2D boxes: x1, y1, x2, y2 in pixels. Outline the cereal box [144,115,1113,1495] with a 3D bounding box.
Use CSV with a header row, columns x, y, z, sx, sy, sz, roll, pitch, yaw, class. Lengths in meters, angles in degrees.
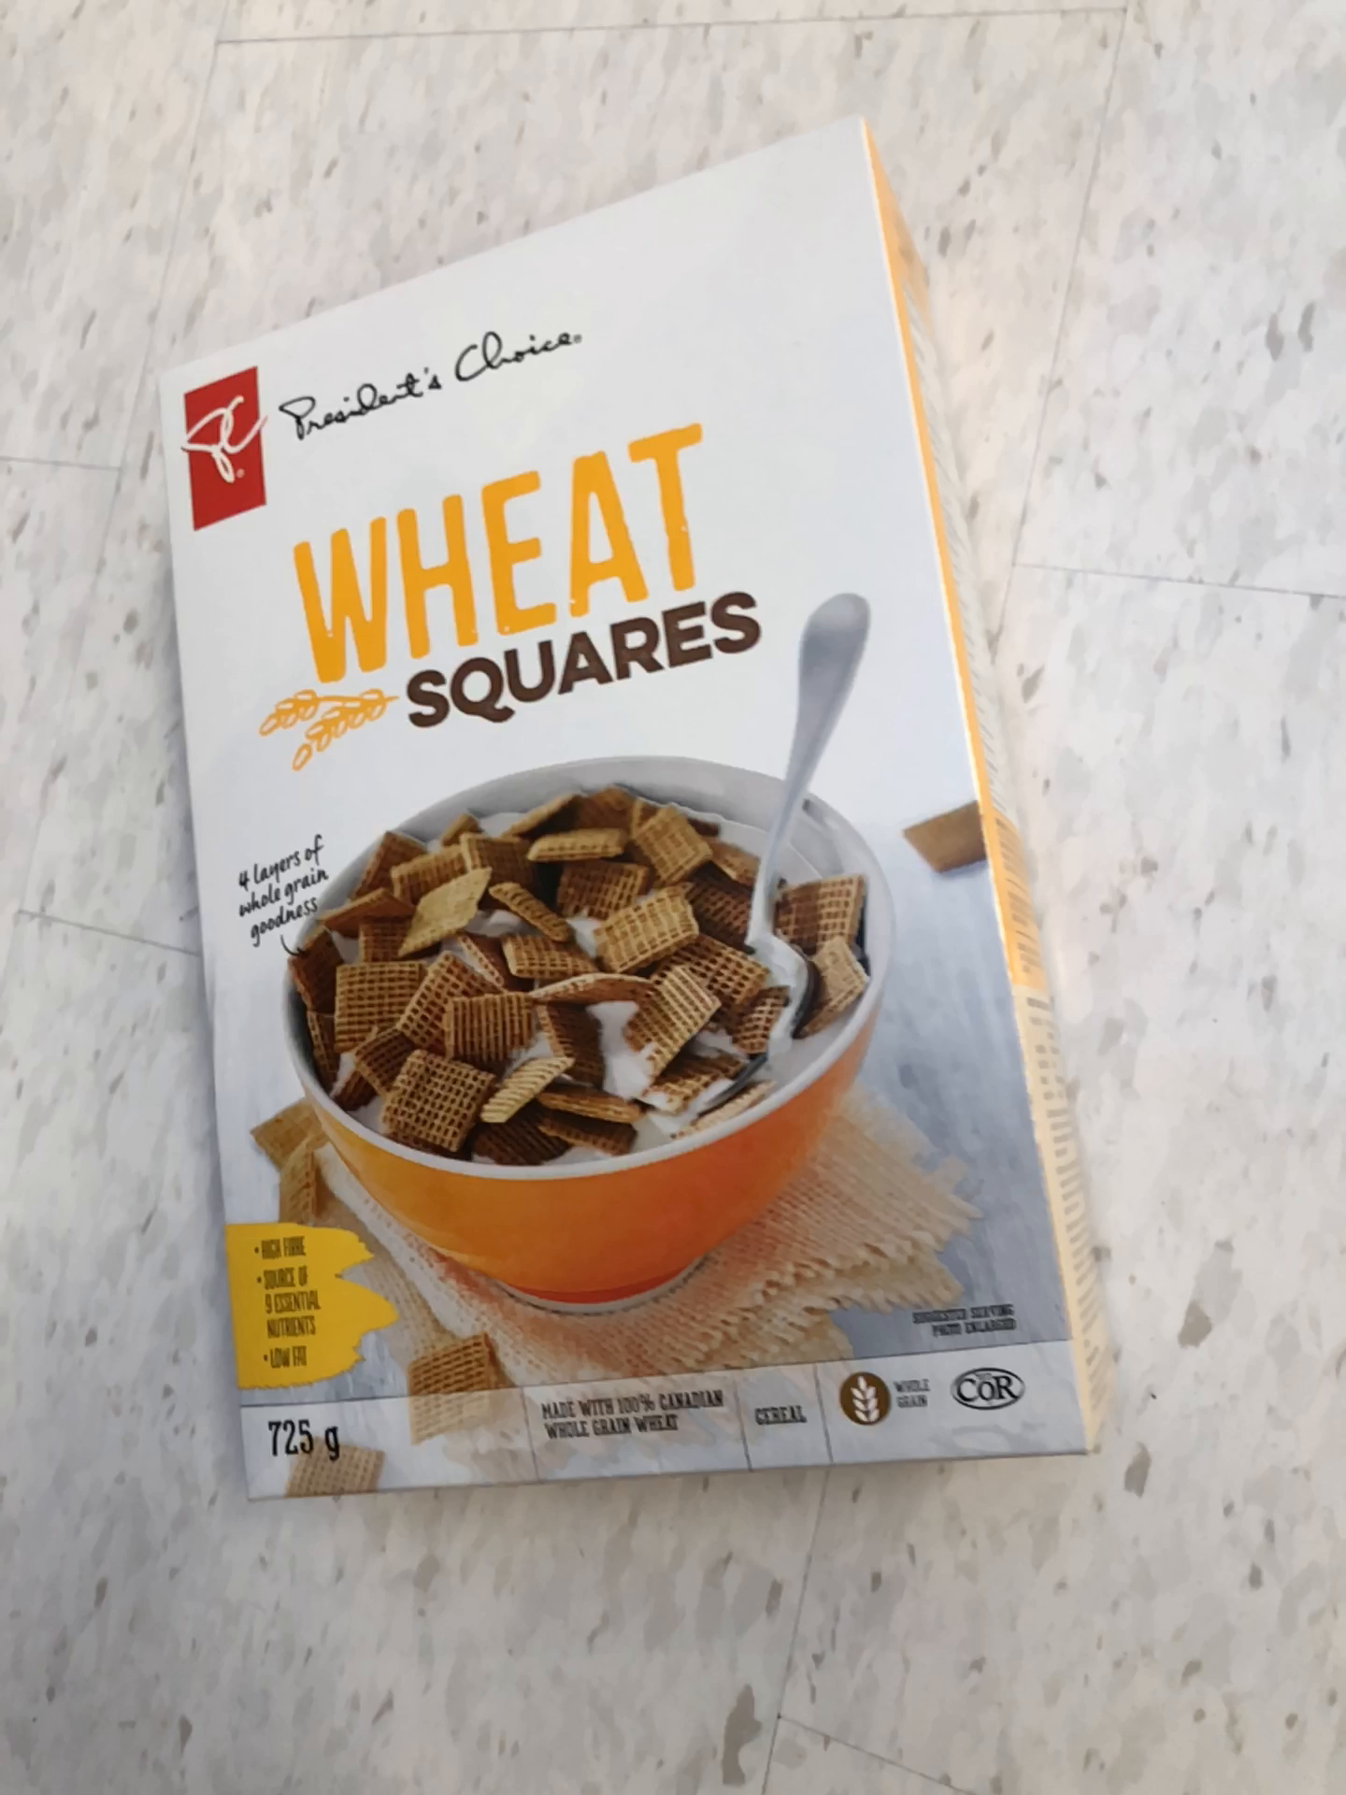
x,y,z,sx,sy,sz,roll,pitch,yaw,class
-0.019,-0.013,0.382,0.200,0.080,0.290,-11,79,20,cereal box
